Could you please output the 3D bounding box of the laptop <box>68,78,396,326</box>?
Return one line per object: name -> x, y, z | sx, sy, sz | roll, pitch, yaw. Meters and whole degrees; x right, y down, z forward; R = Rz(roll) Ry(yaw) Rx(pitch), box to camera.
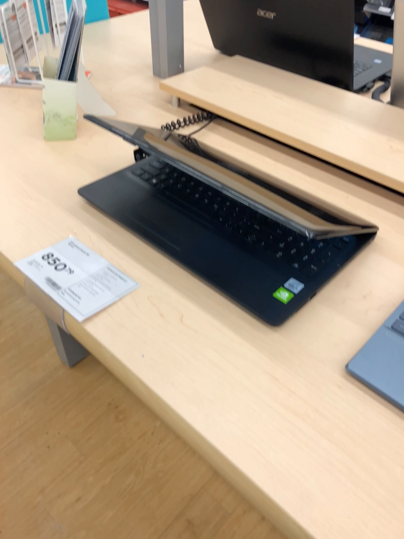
laptop -> 0.027, -0.129, 0.617 | 0.372, 0.115, 0.239 | 34, 51, 30
